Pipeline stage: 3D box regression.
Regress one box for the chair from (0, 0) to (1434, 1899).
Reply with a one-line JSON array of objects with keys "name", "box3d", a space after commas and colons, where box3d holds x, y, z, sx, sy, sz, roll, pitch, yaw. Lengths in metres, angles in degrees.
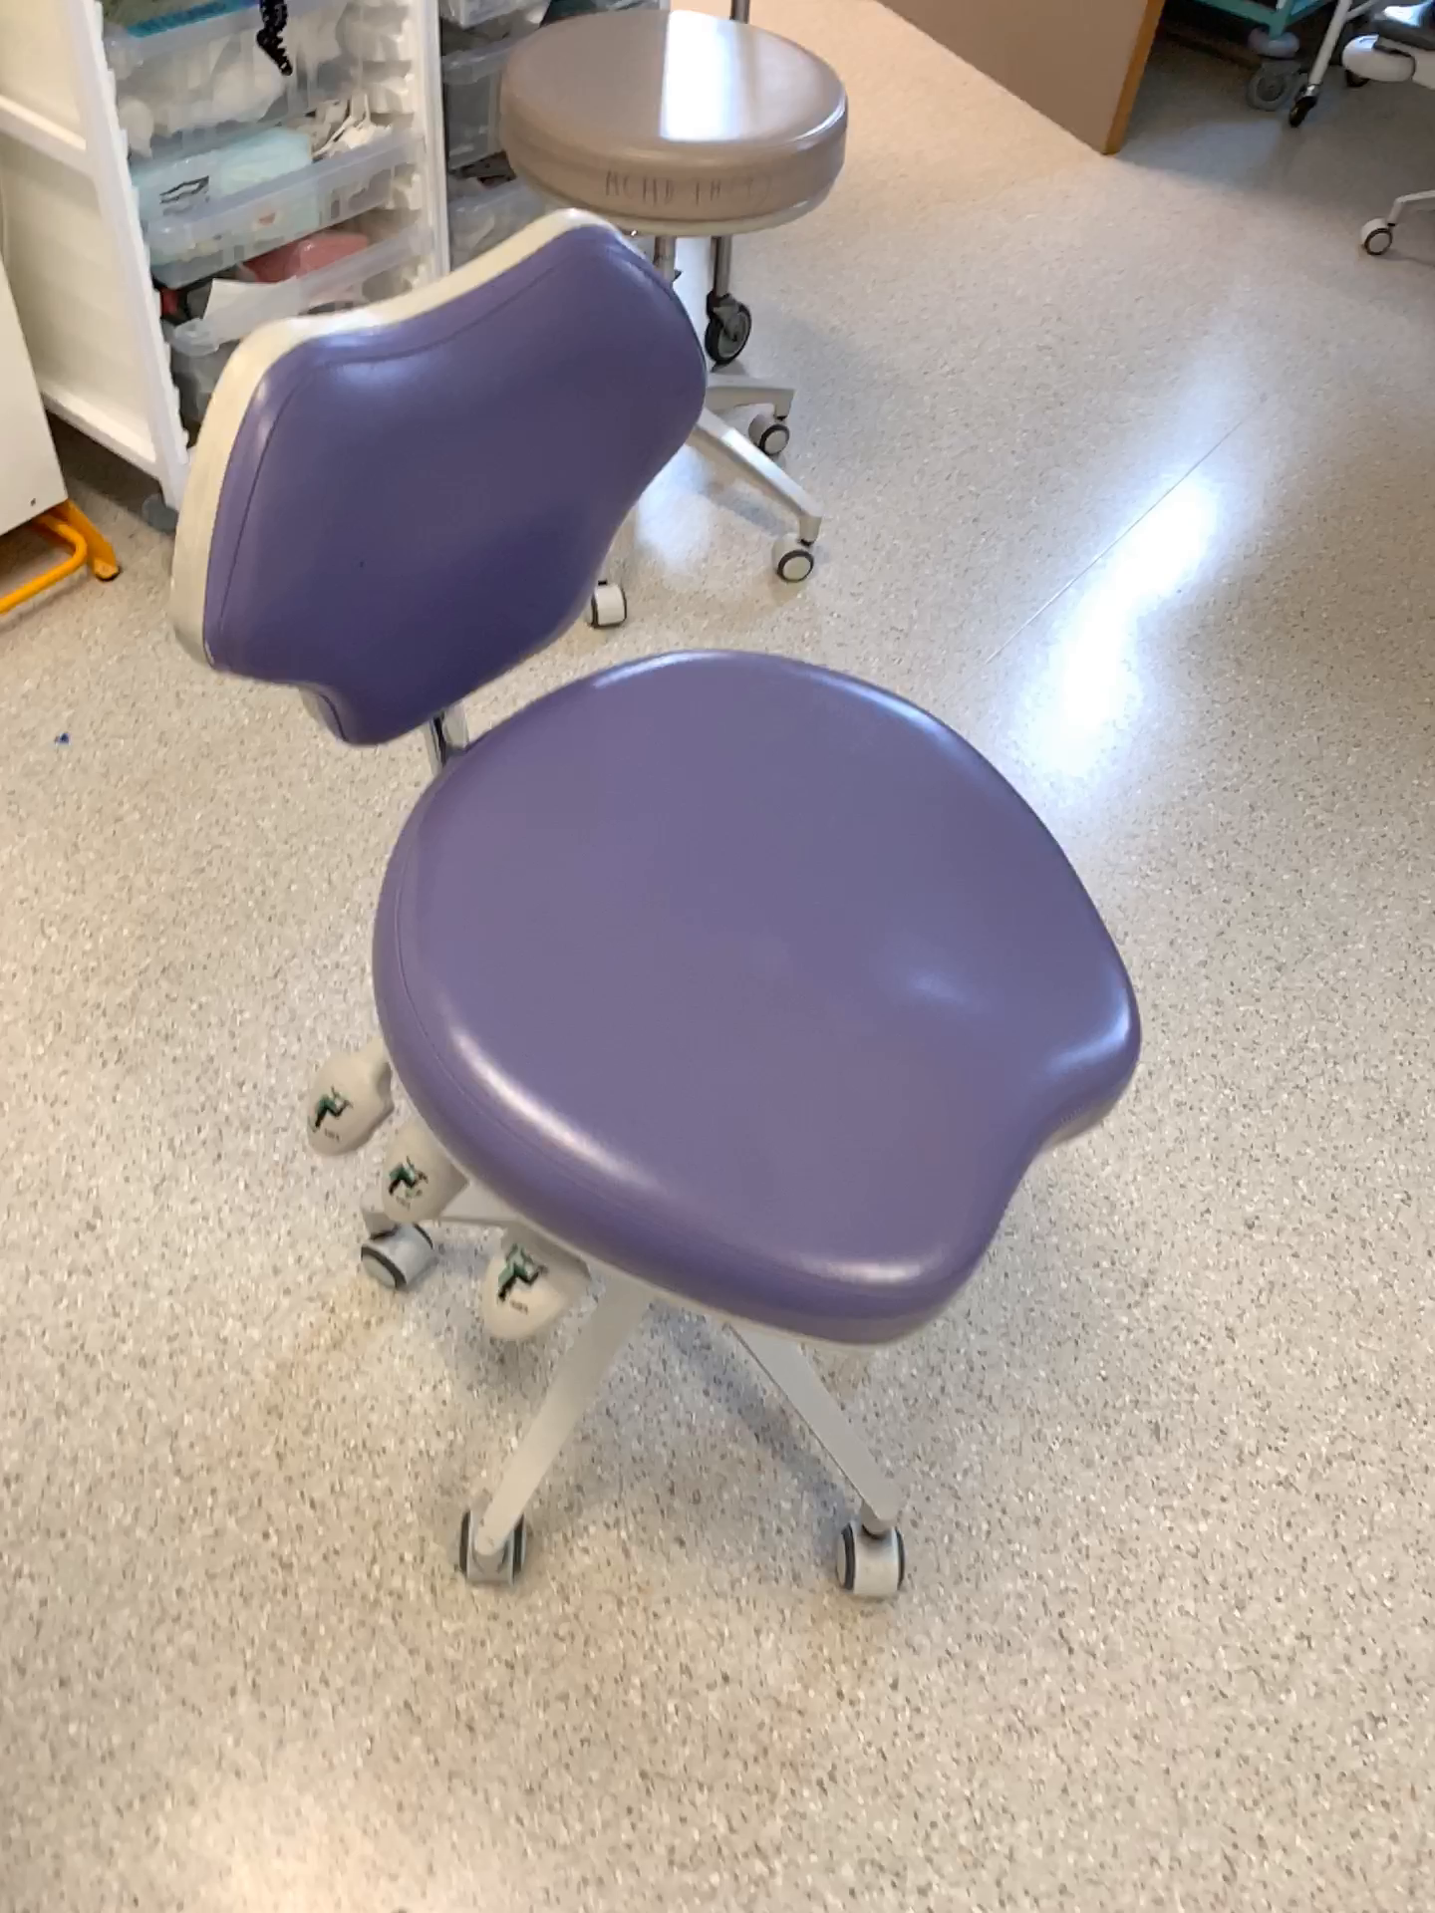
[{"name": "chair", "box3d": [0.010, 0.019, 0.907, 0.652, 0.823, 0.603, 35, 56, 20]}]
